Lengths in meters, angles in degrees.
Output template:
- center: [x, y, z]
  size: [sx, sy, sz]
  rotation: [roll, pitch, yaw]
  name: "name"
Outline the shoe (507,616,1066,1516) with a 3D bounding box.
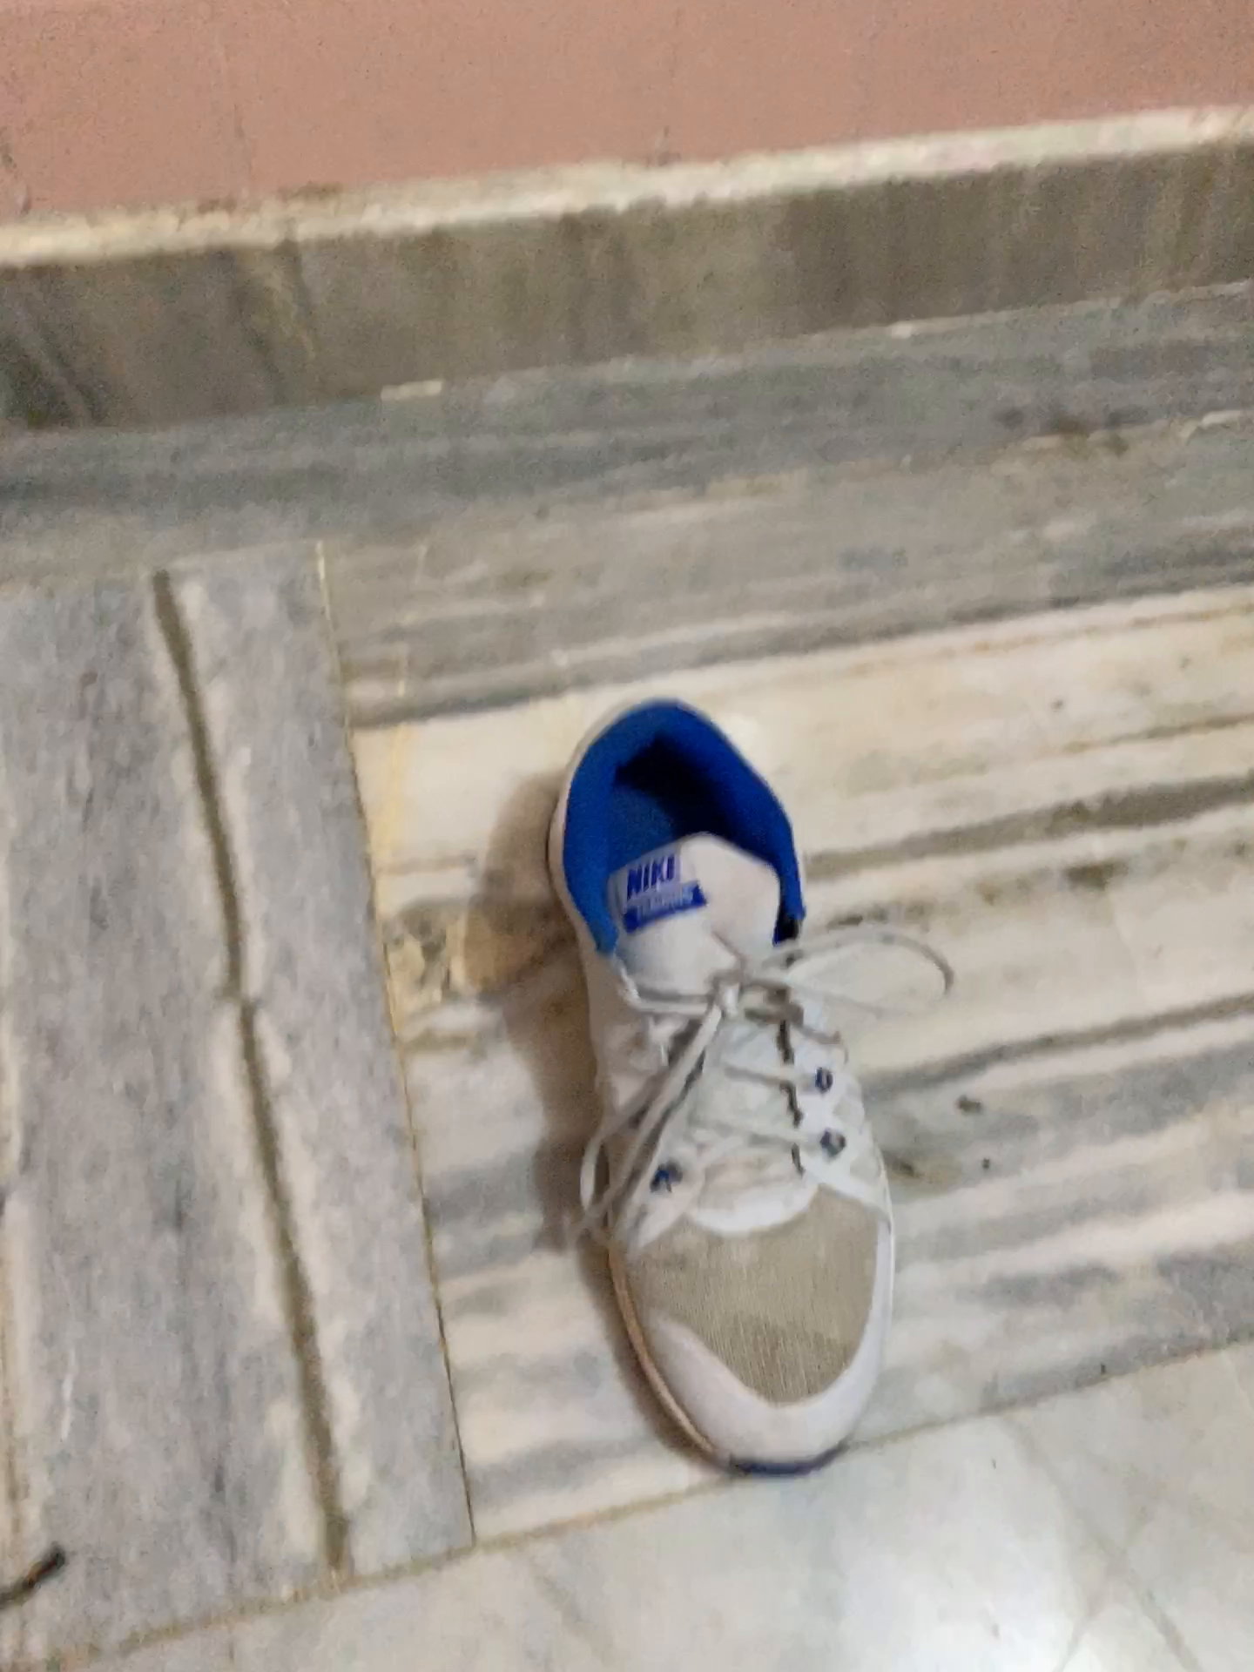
- center: [0.038, 0.074, 0.484]
  size: [0.116, 0.100, 0.300]
  rotation: [-9, 61, -8]
  name: "shoe"
